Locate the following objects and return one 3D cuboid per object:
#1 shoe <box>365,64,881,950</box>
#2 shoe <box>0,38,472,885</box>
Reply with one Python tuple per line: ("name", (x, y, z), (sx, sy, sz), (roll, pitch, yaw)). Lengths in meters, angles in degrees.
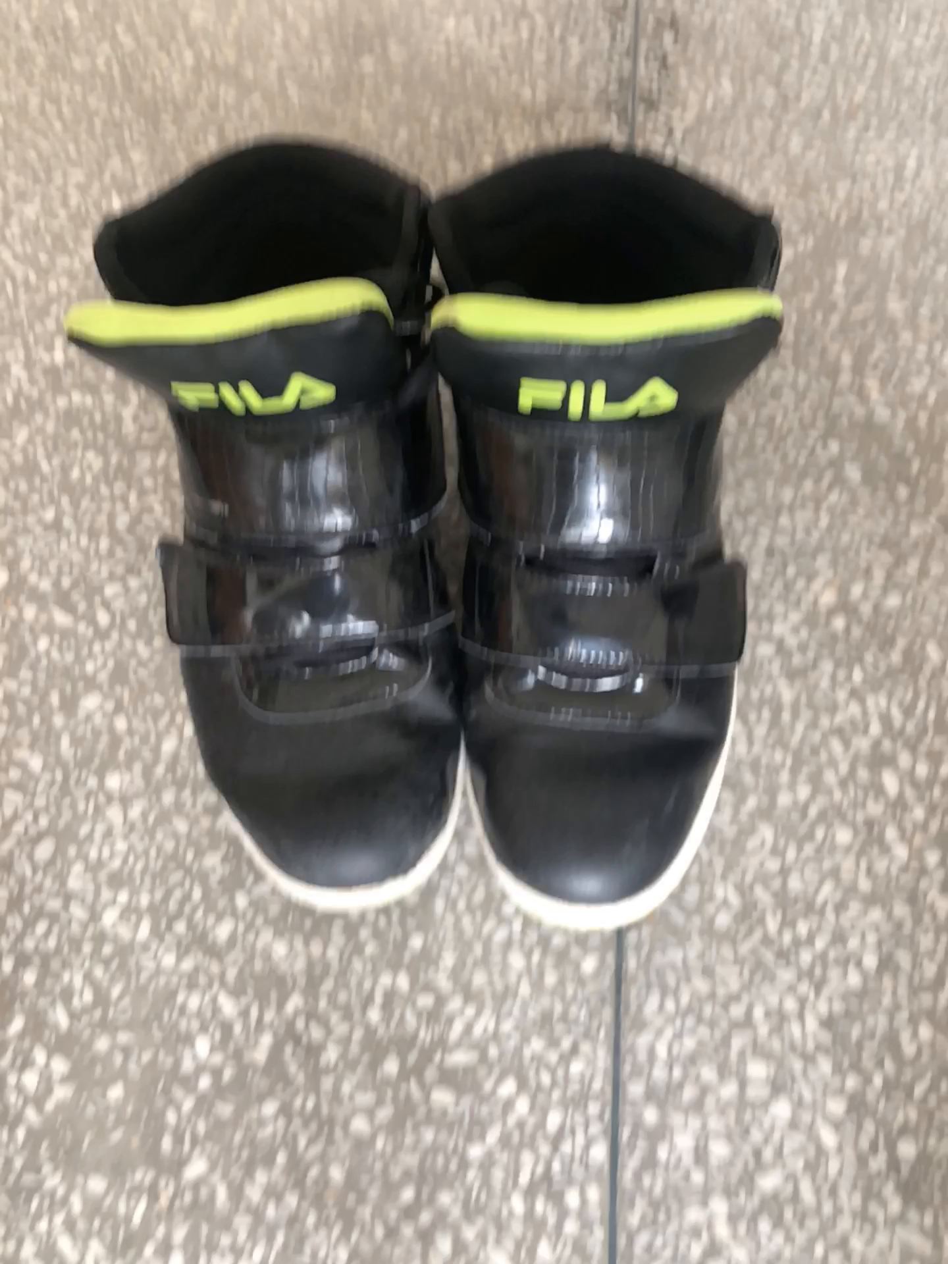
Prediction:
("shoe", (0.048, -0.034, 0.359), (0.120, 0.148, 0.250), (5, 69, 3))
("shoe", (-0.063, -0.055, 0.391), (0.120, 0.148, 0.270), (-1, 69, 1))
